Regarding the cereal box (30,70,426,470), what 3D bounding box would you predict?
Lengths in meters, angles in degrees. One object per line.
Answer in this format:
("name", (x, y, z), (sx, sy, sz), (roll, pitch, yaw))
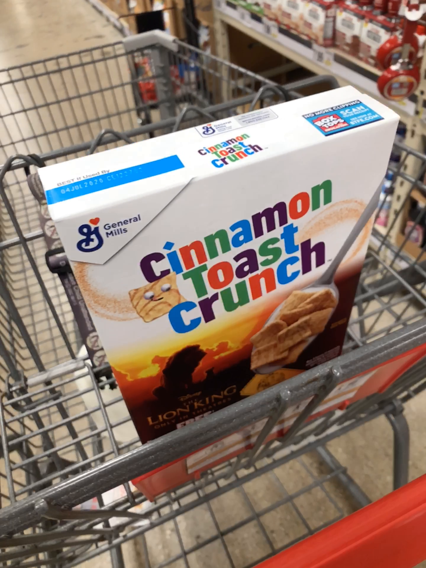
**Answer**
("cereal box", (0.023, 0.023, 0.366), (0.210, 0.309, 0.050), (-19, 50, -11))
